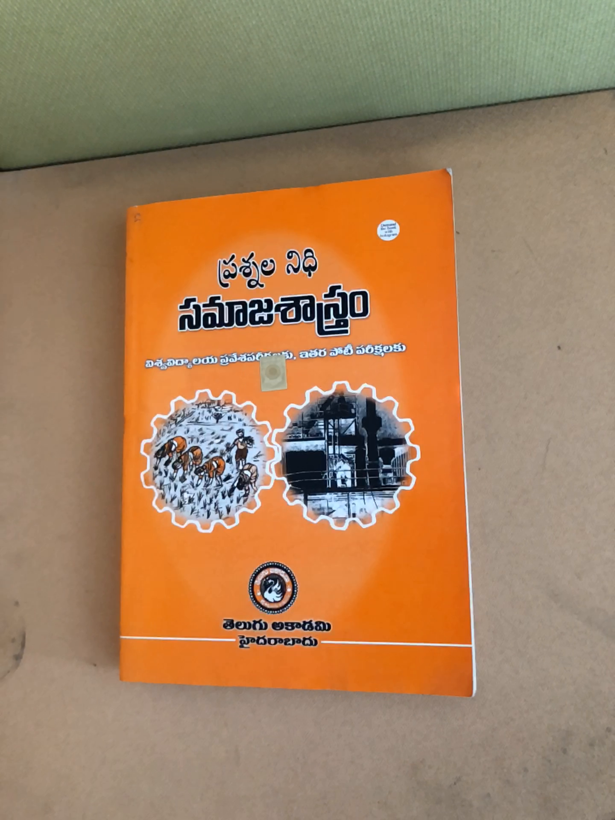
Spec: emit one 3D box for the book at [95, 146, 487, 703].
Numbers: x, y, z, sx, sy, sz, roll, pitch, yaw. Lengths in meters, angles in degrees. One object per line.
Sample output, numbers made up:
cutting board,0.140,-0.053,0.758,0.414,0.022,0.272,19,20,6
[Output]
book,-0.012,0.007,0.399,0.210,0.050,0.290,-3,81,13
